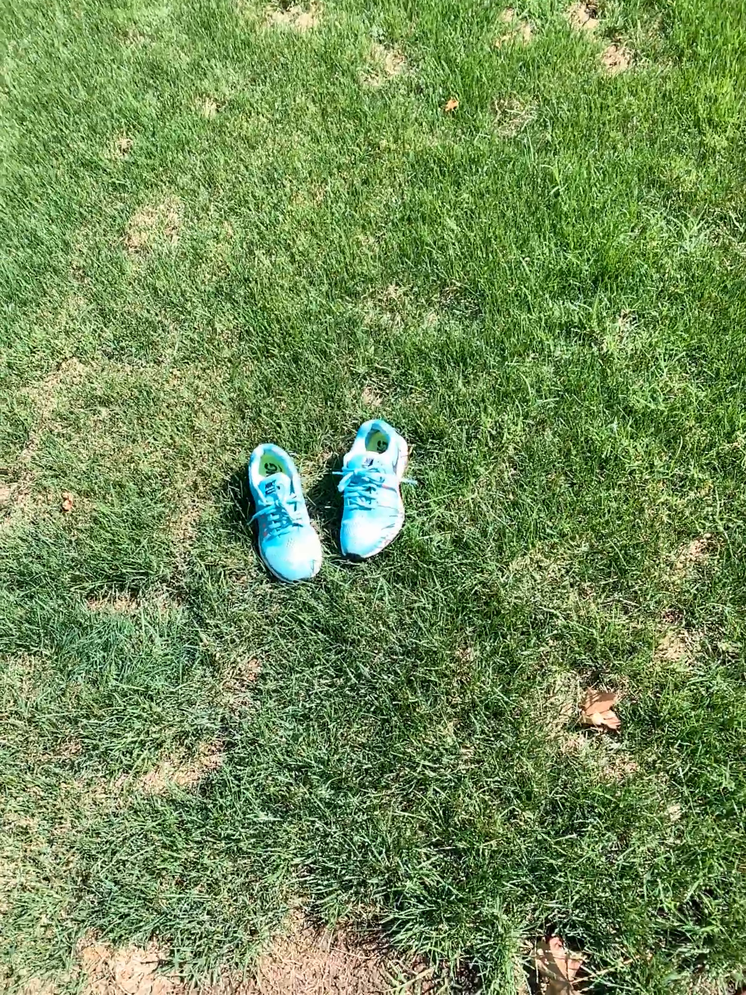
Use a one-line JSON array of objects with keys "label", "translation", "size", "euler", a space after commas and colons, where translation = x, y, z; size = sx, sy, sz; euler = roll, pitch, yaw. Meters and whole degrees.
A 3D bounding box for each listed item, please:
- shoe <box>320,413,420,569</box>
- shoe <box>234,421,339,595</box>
[{"label": "shoe", "translation": [0.000, -0.015, 1.258], "size": [0.120, 0.070, 0.250], "euler": [3, 60, 12]}, {"label": "shoe", "translation": [-0.146, 0.015, 1.278], "size": [0.120, 0.090, 0.261], "euler": [-14, 59, -2]}]
